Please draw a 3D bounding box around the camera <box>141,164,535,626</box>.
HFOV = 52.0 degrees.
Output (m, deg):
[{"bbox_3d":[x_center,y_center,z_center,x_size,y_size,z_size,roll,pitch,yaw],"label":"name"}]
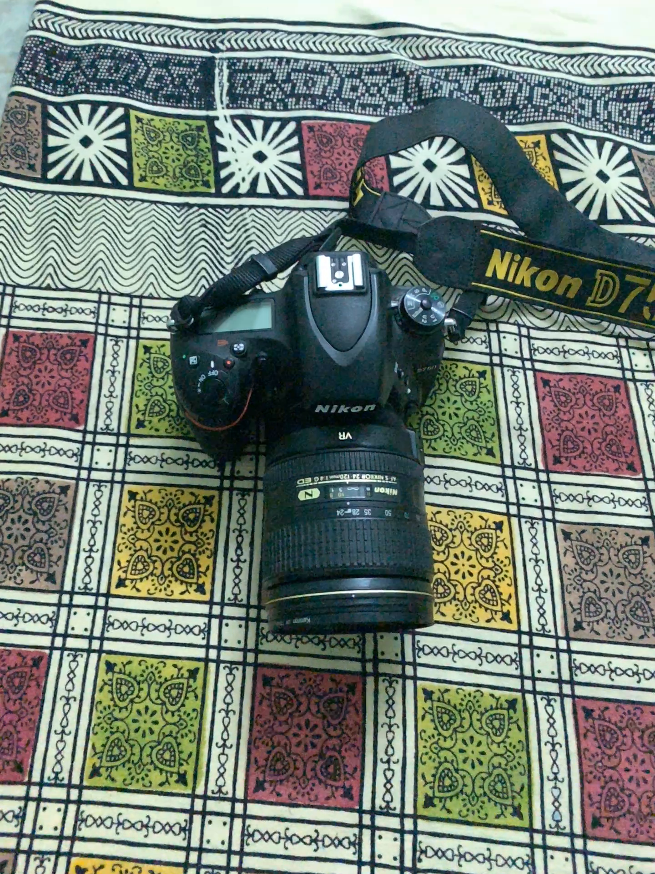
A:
[{"bbox_3d":[0.000,-0.016,0.319,0.140,0.100,0.190,-2,69,-1],"label":"camera"}]
